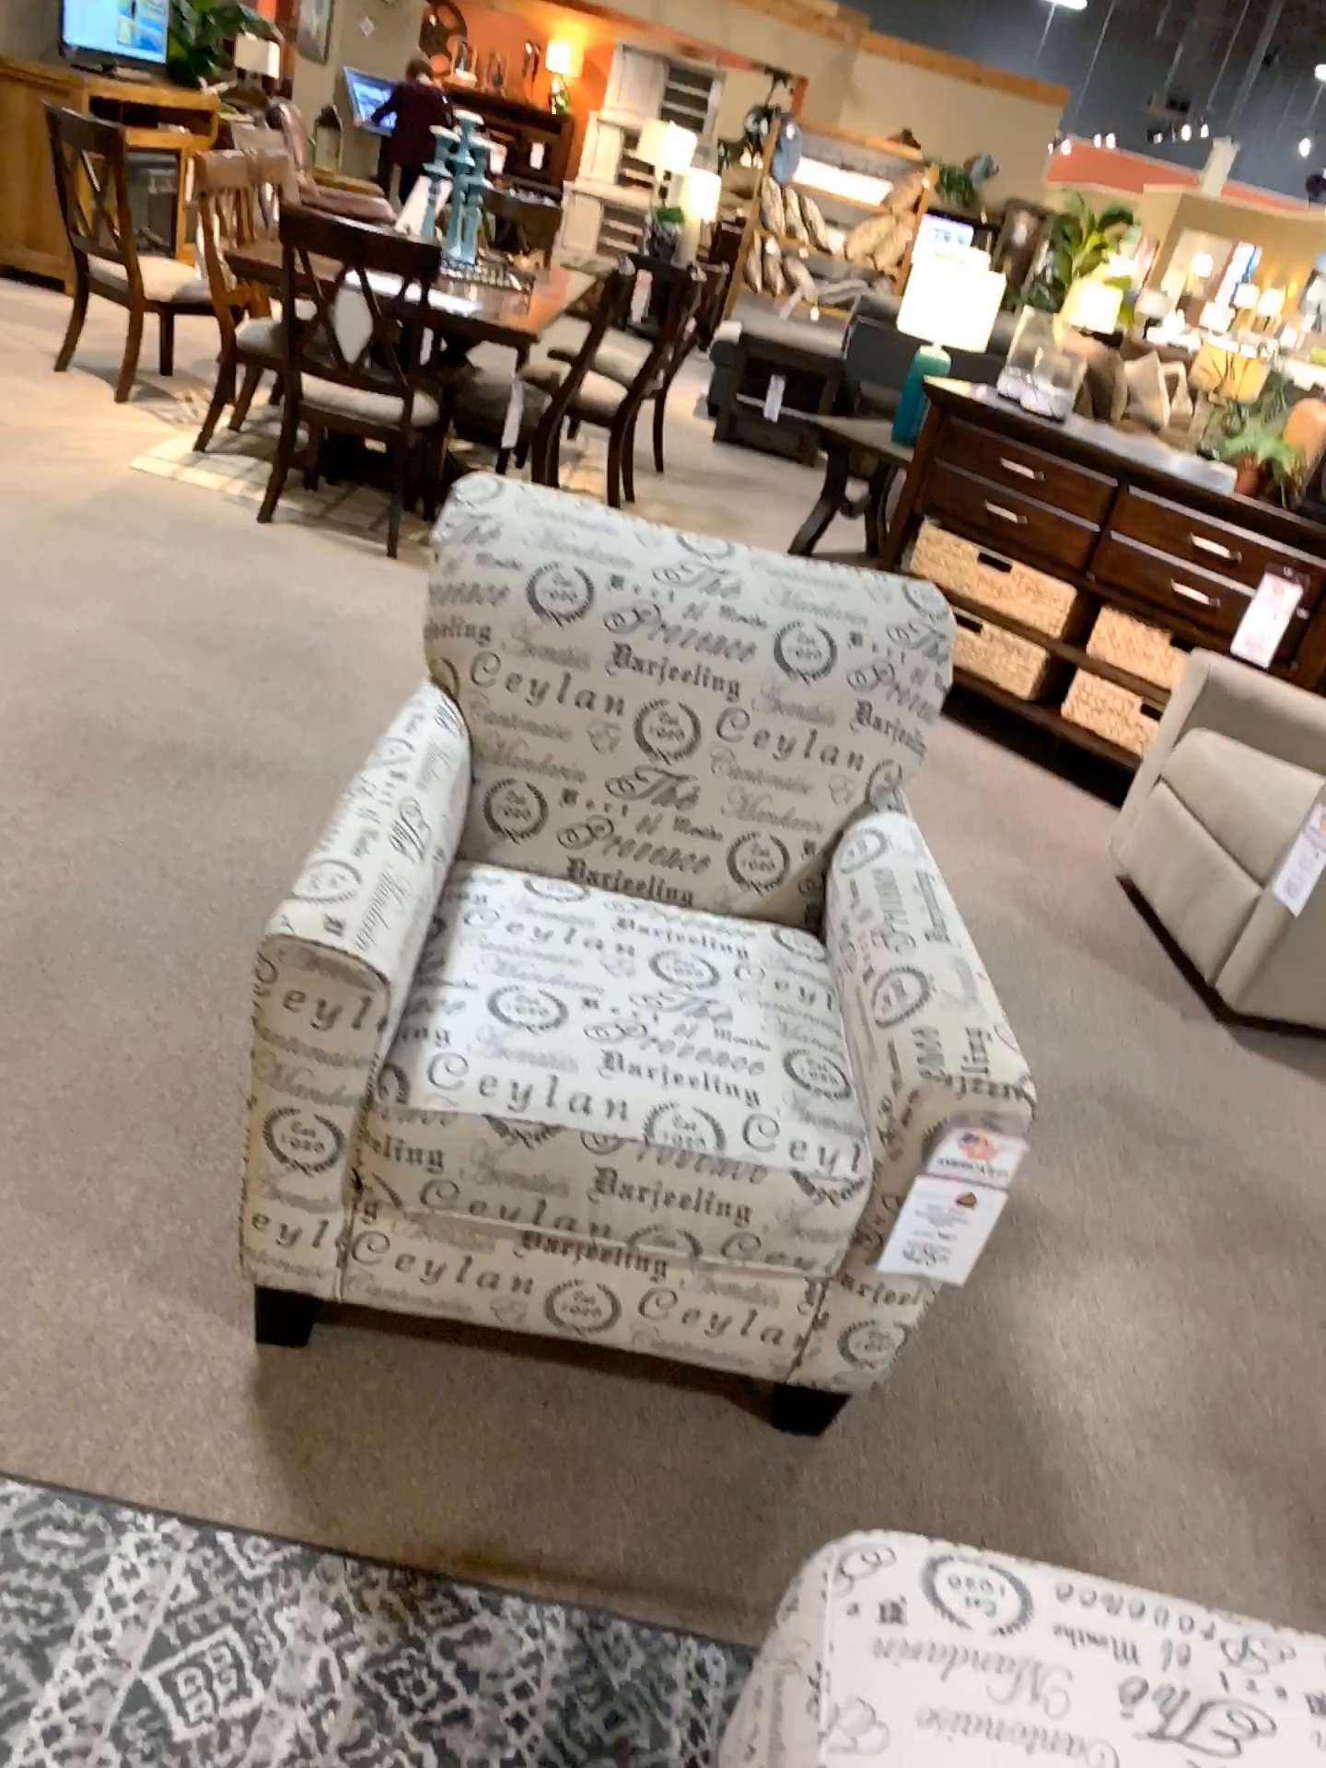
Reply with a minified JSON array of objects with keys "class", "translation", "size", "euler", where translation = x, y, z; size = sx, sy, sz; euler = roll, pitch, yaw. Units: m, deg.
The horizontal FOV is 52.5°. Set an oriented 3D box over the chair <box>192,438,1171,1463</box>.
[{"class":"chair","translation":[-0.038,0.033,1.806],"size":[0.834,0.869,0.920],"euler":[12,28,-7]}]
